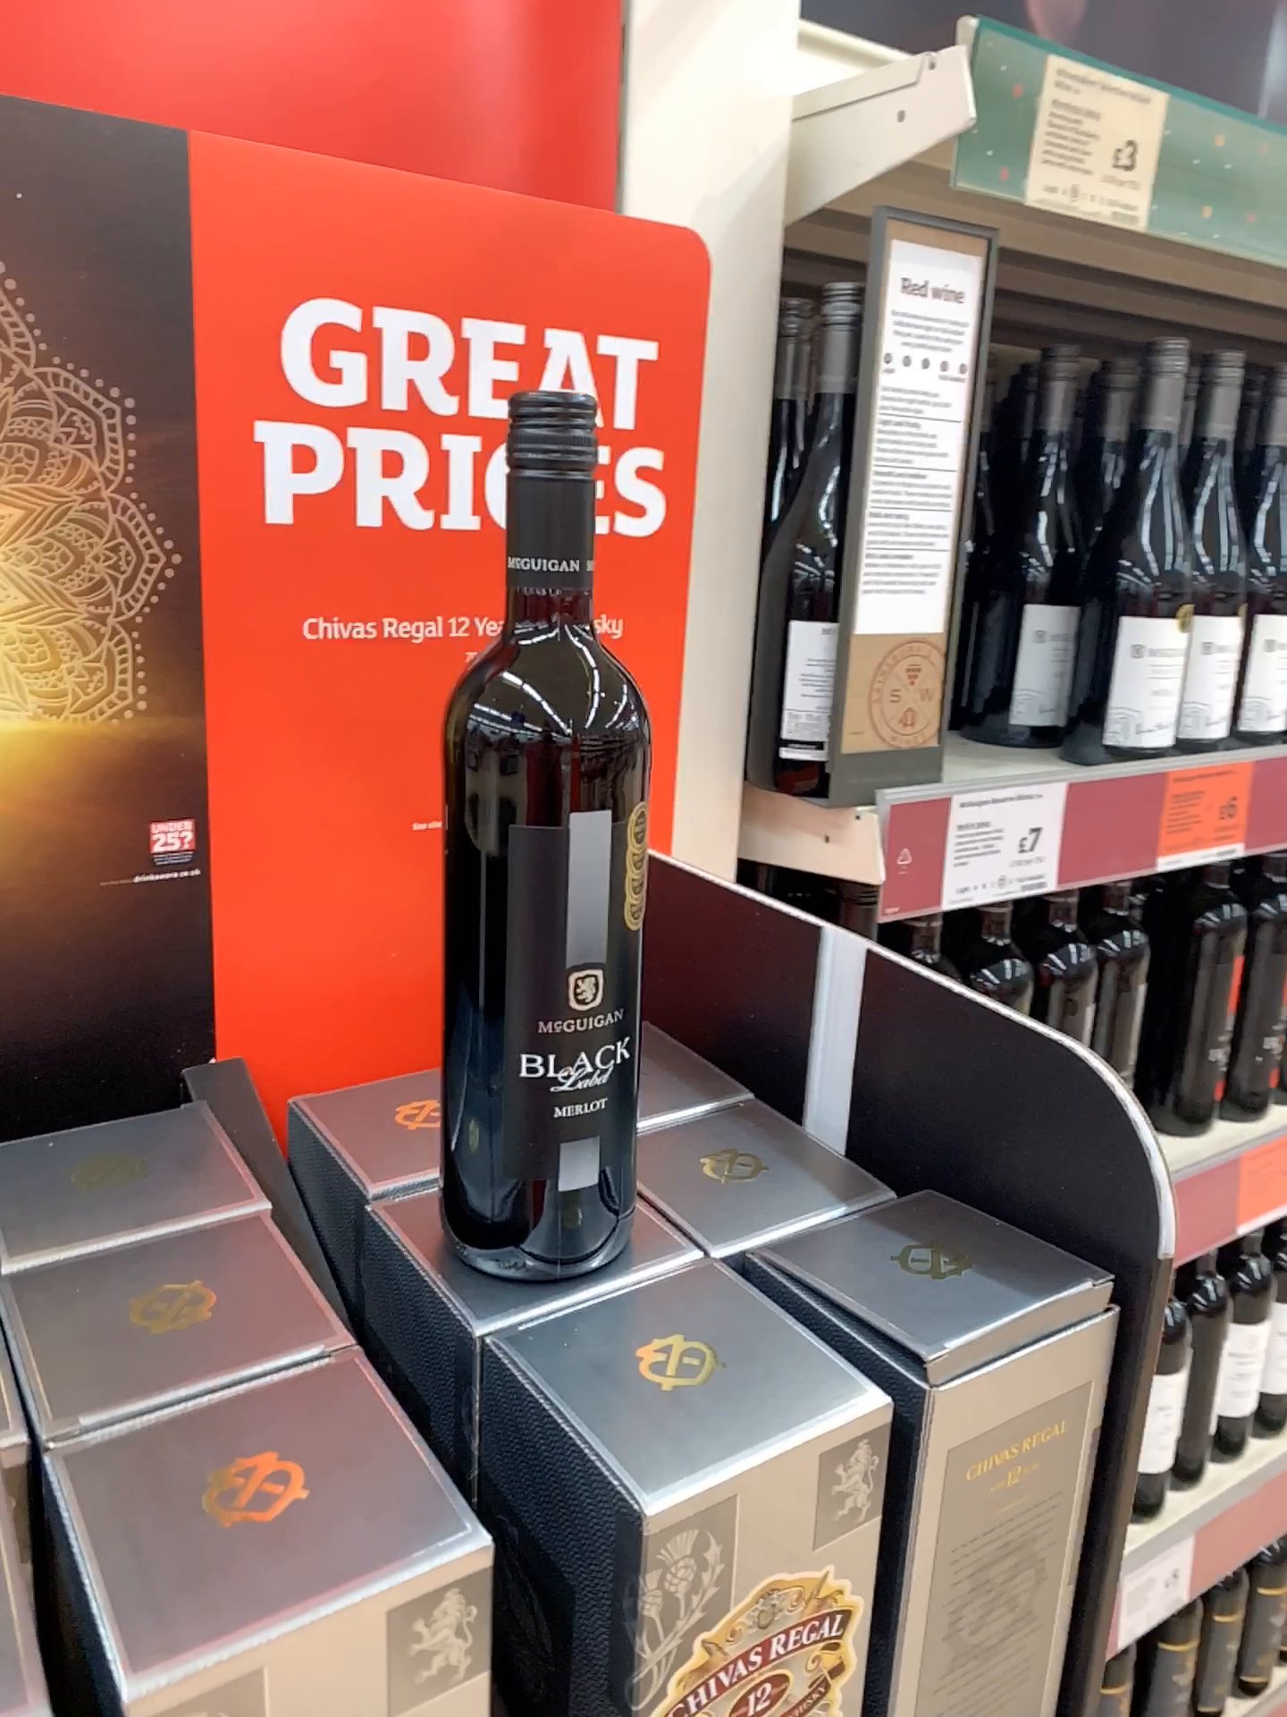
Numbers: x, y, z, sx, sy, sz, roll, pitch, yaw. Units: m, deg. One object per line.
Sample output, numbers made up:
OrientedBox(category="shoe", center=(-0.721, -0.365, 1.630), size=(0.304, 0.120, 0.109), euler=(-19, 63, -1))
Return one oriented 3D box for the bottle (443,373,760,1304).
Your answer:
OrientedBox(category="bottle", center=(-0.022, -0.006, 0.445), size=(0.070, 0.288, 0.080), euler=(-2, 16, -21))
